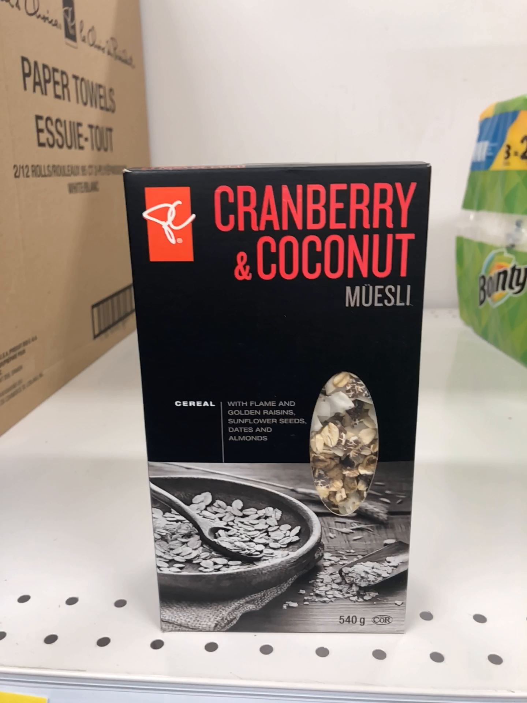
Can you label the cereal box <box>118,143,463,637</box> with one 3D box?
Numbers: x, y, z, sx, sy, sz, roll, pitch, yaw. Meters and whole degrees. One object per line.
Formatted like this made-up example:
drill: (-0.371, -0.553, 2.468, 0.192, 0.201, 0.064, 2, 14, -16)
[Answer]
cereal box: (0.013, 0.016, 0.265, 0.120, 0.199, 0.070, 0, 15, 4)
